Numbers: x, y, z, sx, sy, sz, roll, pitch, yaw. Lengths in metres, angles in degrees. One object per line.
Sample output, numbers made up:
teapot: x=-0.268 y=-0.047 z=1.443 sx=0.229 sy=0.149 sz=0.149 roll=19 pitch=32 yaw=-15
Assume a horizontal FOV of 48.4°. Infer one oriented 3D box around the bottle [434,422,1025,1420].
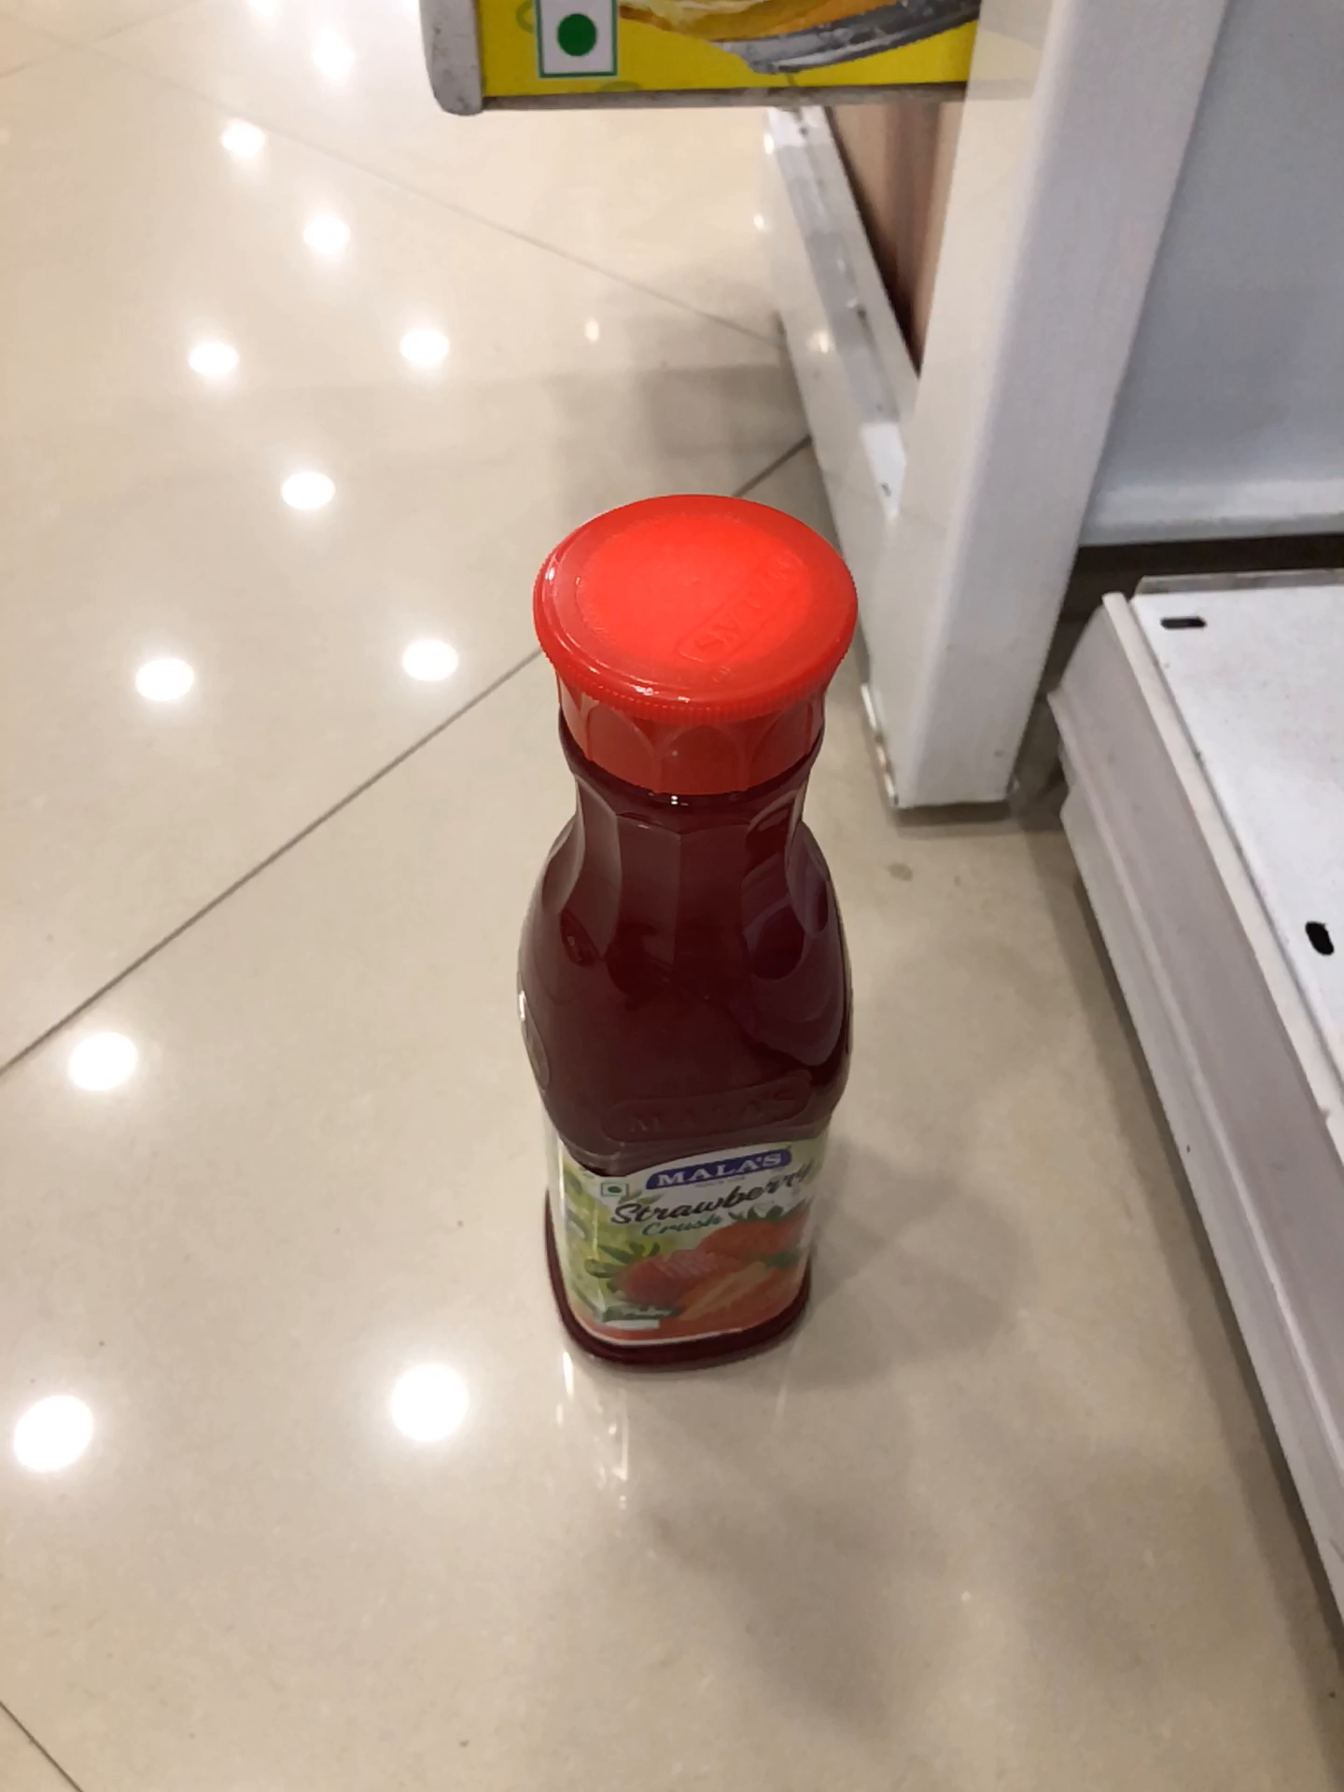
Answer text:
bottle: x=0.004 y=0.028 z=0.331 sx=0.080 sy=0.249 sz=0.070 roll=-8 pitch=51 yaw=-8
